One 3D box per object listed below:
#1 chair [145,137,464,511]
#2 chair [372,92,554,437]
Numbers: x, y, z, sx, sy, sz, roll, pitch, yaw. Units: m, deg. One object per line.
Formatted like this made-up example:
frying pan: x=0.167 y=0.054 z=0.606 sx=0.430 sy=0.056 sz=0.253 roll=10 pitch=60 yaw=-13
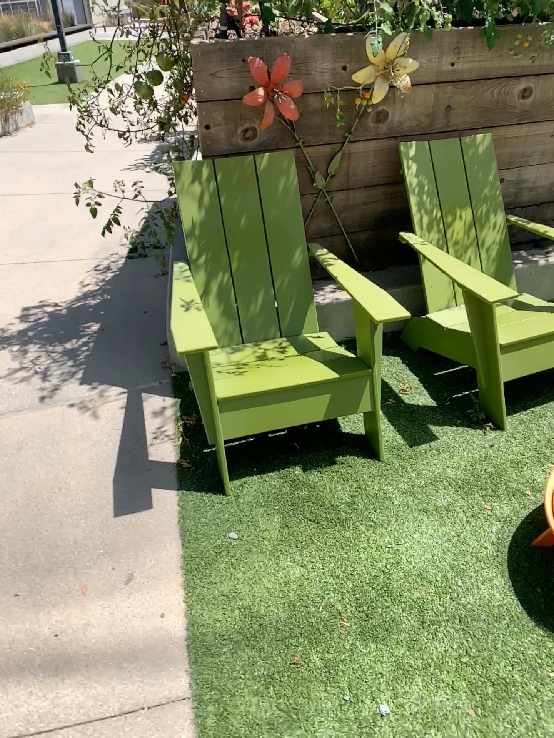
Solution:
chair: x=0.011 y=-0.233 z=1.831 sx=0.680 sy=0.835 sz=0.905 roll=-10 pitch=29 yaw=-12
chair: x=0.907 y=-0.440 z=2.208 sx=0.680 sy=0.986 sz=0.894 roll=-13 pitch=21 yaw=-10
